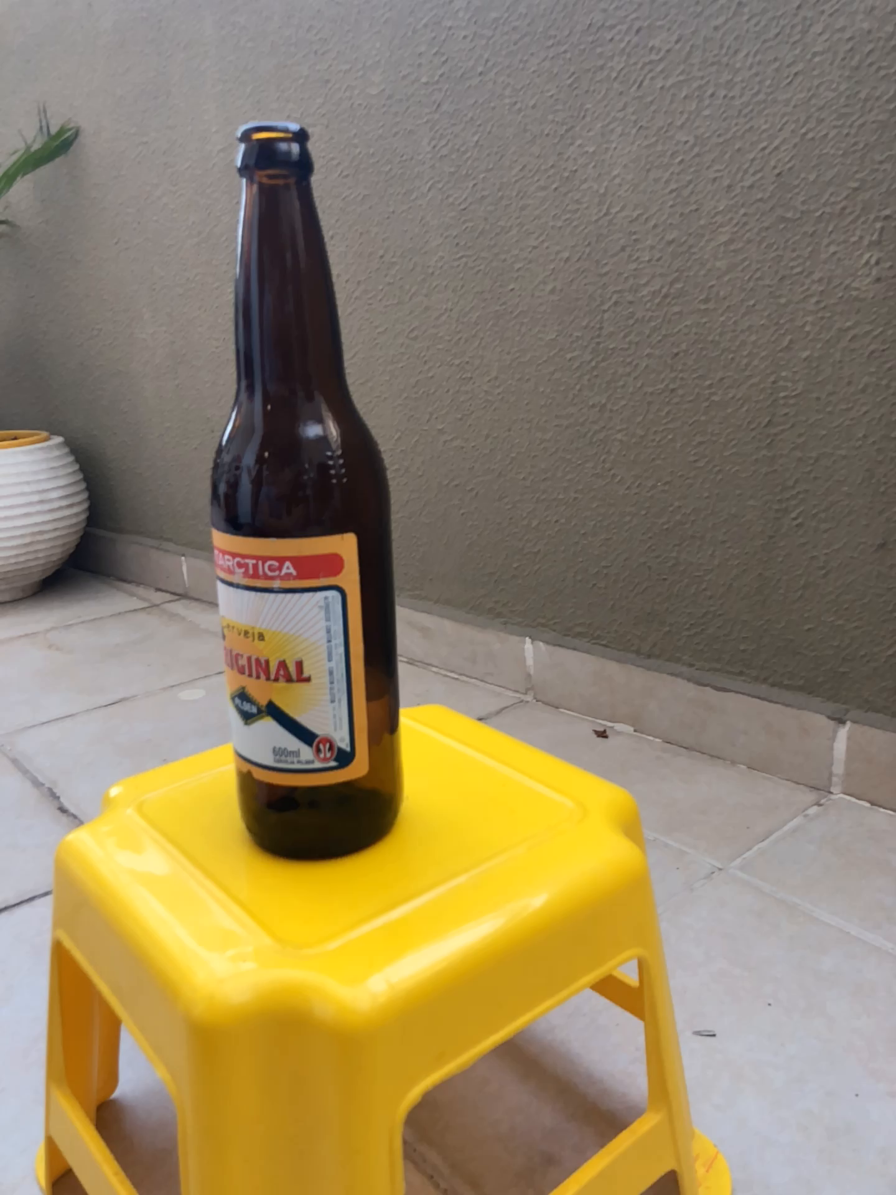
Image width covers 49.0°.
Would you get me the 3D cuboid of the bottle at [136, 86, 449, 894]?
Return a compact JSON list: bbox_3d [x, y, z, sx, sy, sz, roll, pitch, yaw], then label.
[{"bbox_3d":[-0.059,-0.039,0.404,0.080,0.289,0.080,-1,15,0],"label":"bottle"}]
